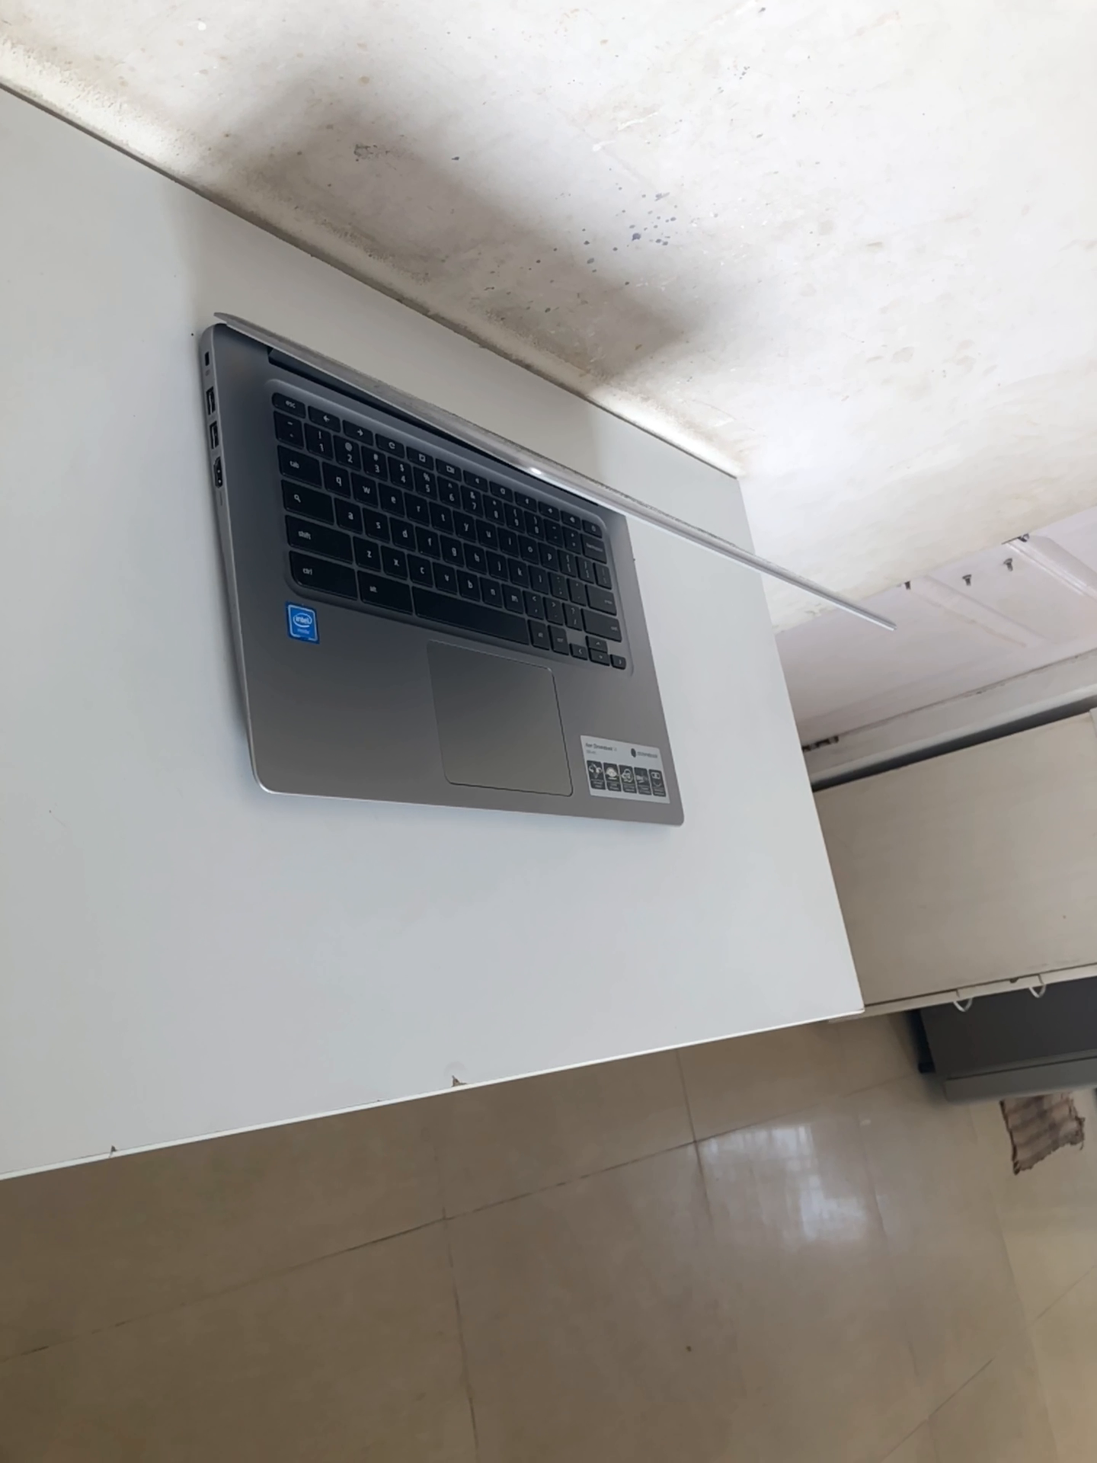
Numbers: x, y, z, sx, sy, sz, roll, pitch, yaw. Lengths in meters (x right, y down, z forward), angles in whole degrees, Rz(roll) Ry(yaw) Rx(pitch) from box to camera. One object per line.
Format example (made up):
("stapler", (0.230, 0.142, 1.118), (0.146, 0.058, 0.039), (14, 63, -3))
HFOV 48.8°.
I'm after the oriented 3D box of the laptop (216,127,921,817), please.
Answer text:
("laptop", (0.026, -0.091, 0.613), (0.327, 0.155, 0.221), (9, 65, -51))
